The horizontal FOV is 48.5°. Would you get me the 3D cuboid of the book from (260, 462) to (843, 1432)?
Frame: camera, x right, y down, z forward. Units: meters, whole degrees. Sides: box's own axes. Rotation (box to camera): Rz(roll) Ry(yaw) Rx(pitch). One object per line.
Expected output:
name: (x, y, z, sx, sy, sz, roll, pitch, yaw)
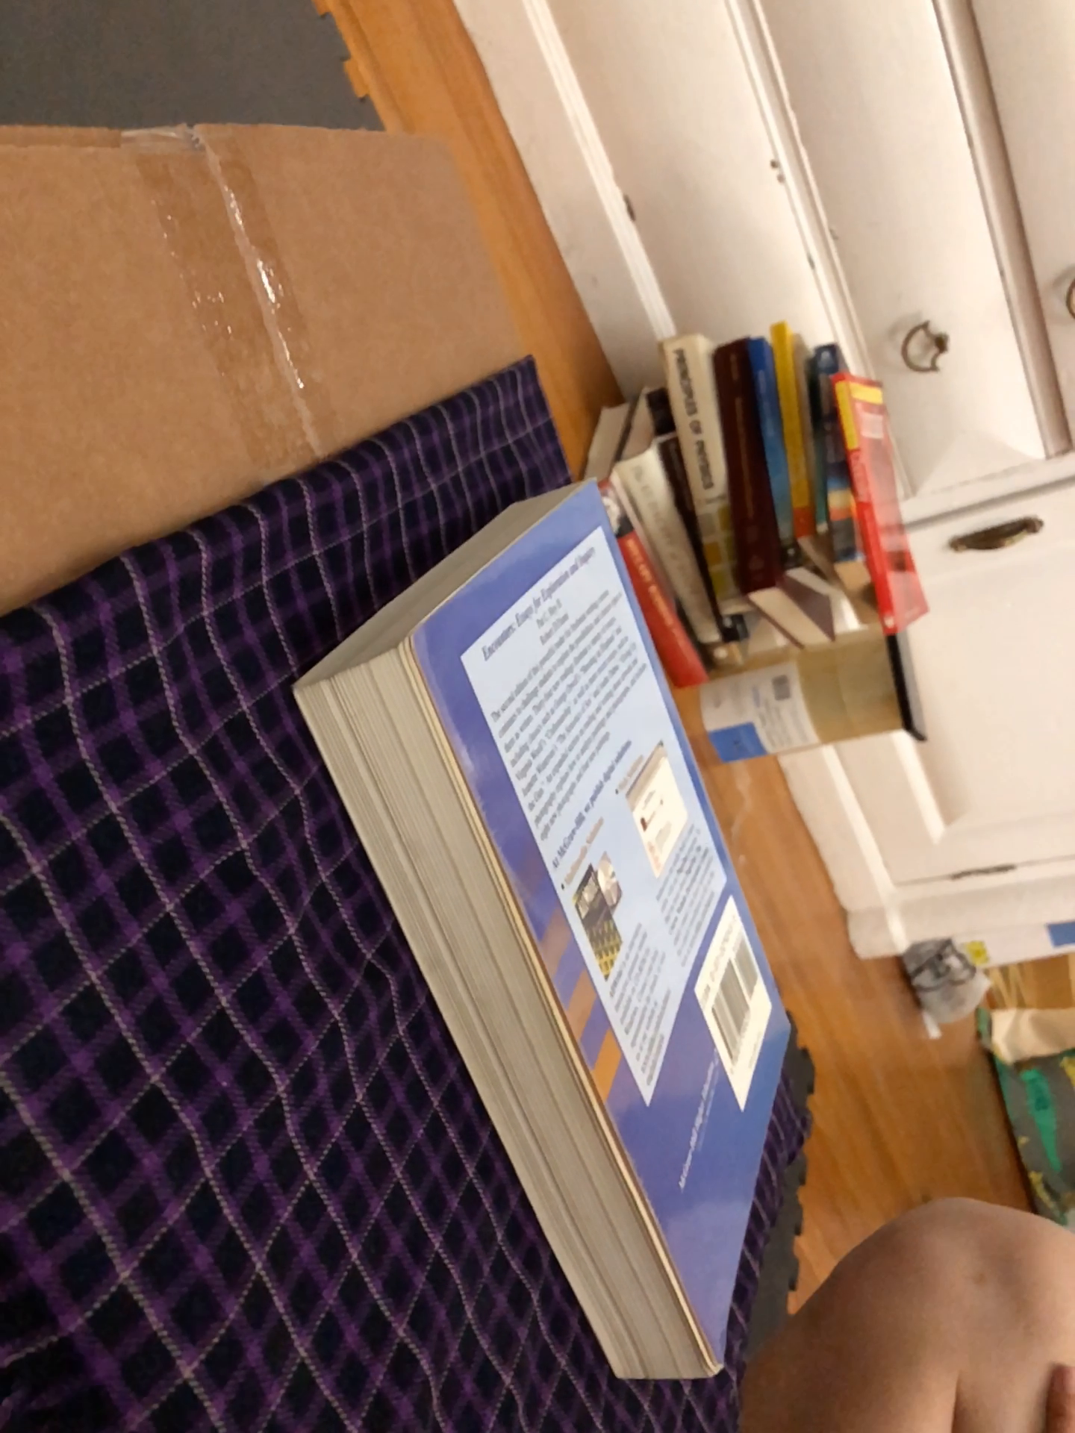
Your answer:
book: (0.030, 0.064, 0.367, 0.240, 0.040, 0.181, 67, 28, -18)
